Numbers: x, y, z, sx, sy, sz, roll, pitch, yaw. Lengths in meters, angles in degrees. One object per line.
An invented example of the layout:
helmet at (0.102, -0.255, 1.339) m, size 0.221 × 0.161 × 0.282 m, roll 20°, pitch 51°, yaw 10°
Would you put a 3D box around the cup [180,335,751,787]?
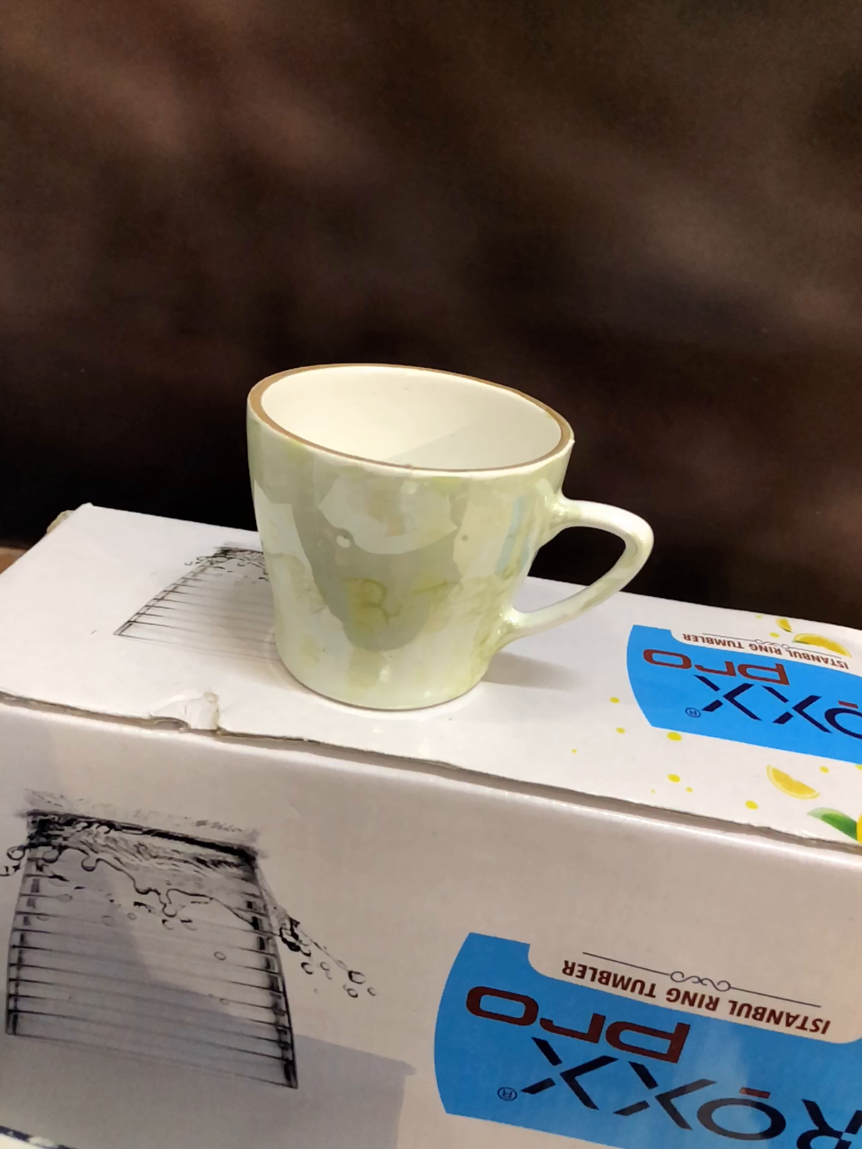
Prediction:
cup at (0.005, -0.007, 0.211) m, size 0.100 × 0.060 × 0.070 m, roll 8°, pitch 29°, yaw 1°
